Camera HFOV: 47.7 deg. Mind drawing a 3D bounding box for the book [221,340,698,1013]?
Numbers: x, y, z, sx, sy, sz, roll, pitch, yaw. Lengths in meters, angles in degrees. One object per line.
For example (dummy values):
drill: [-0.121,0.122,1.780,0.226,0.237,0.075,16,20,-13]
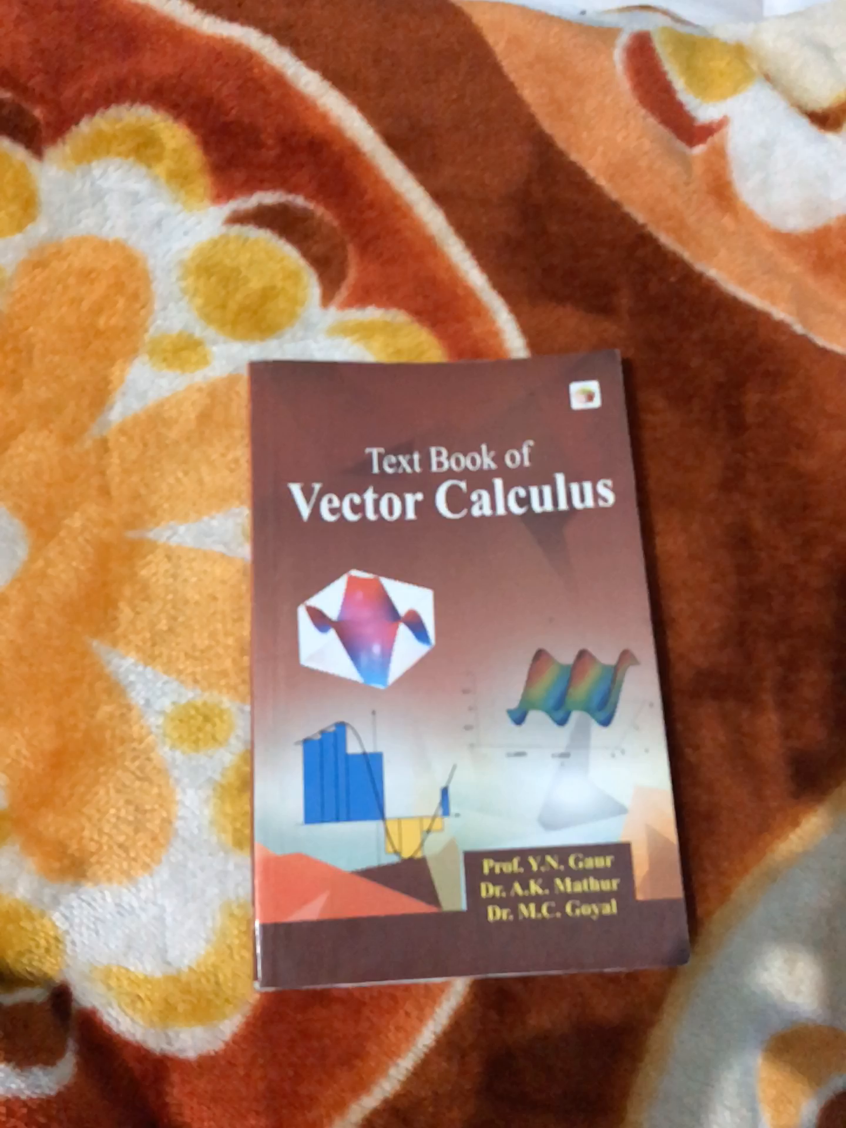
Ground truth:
book: [0.006,0.028,0.317,0.140,0.020,0.210,-3,76,-3]
